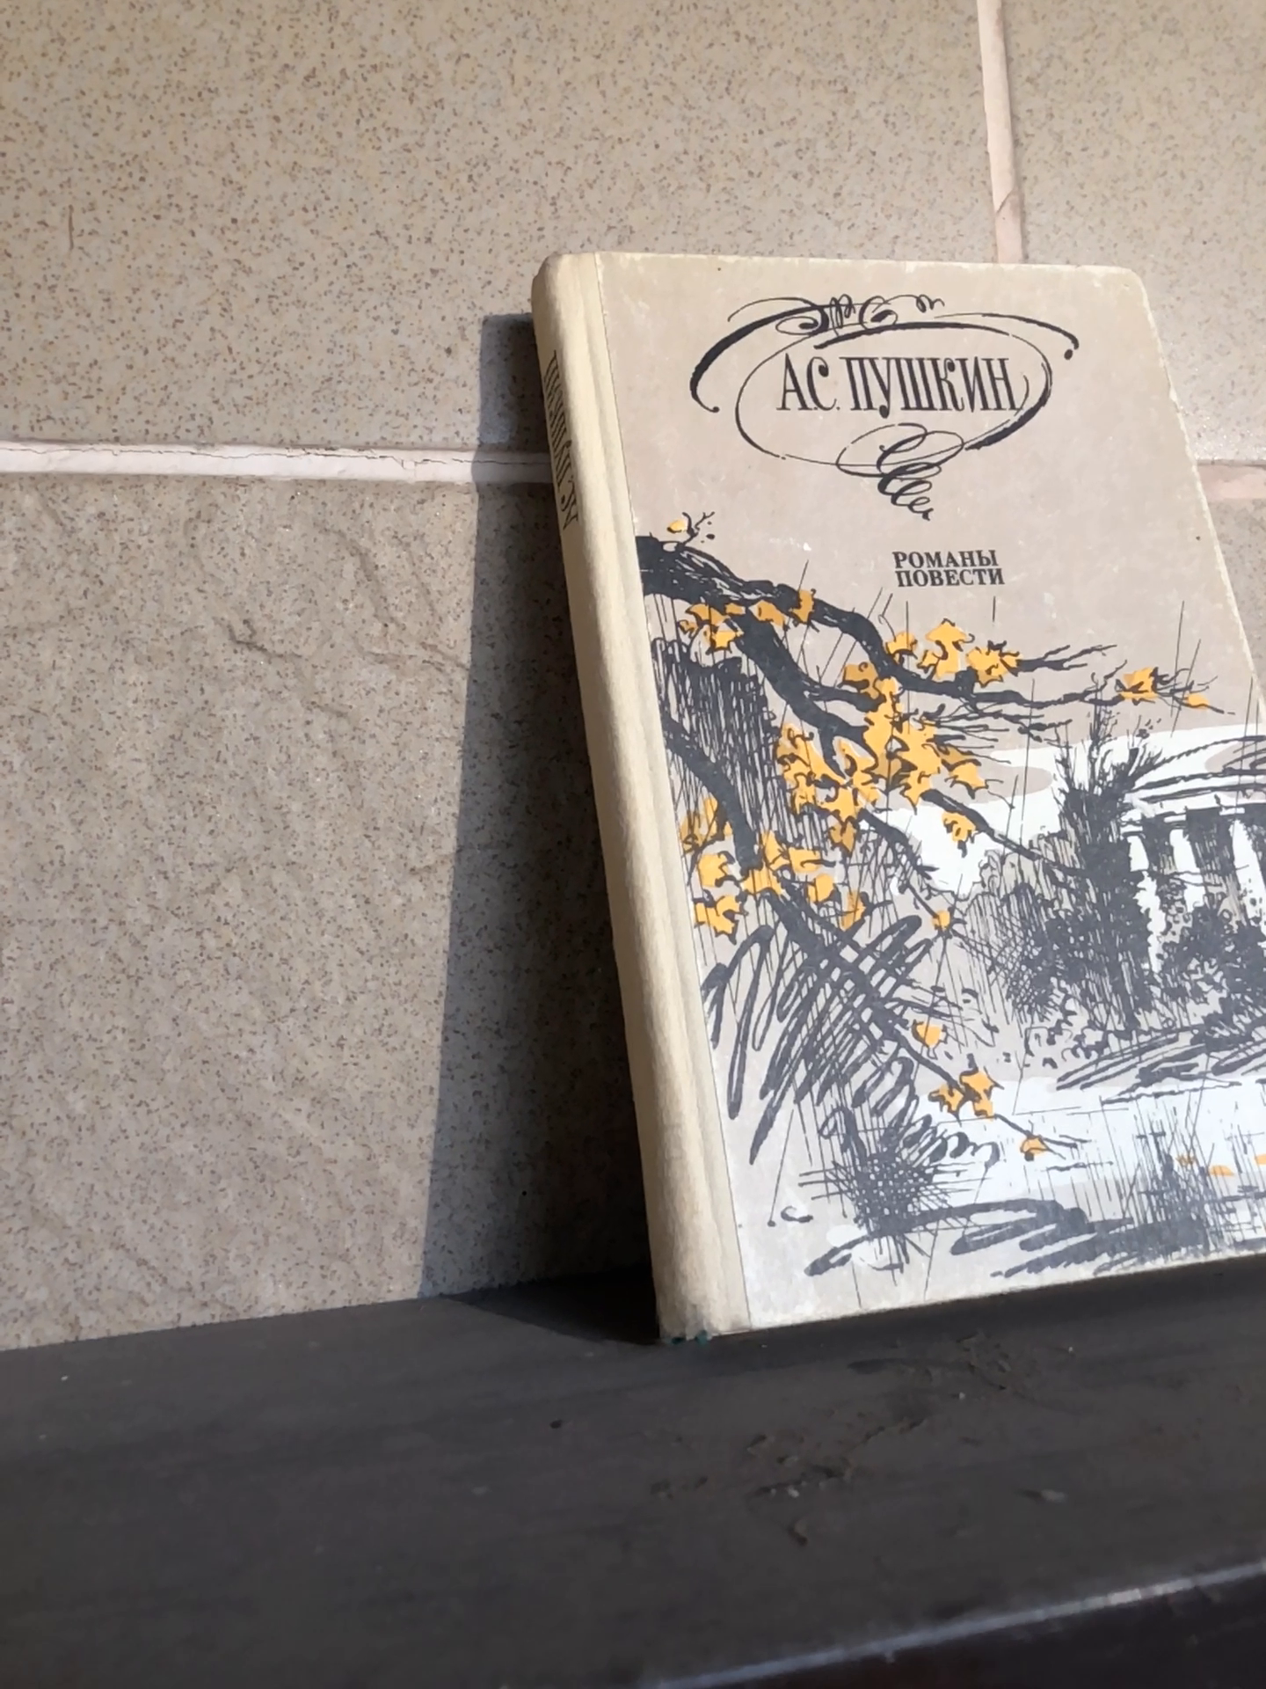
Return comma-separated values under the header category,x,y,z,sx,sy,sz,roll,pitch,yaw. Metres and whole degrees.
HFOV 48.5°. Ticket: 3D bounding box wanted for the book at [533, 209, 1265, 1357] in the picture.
category,x,y,z,sx,sy,sz,roll,pitch,yaw
book,0.057,-0.021,0.256,0.130,0.199,0.020,-3,-14,-13
